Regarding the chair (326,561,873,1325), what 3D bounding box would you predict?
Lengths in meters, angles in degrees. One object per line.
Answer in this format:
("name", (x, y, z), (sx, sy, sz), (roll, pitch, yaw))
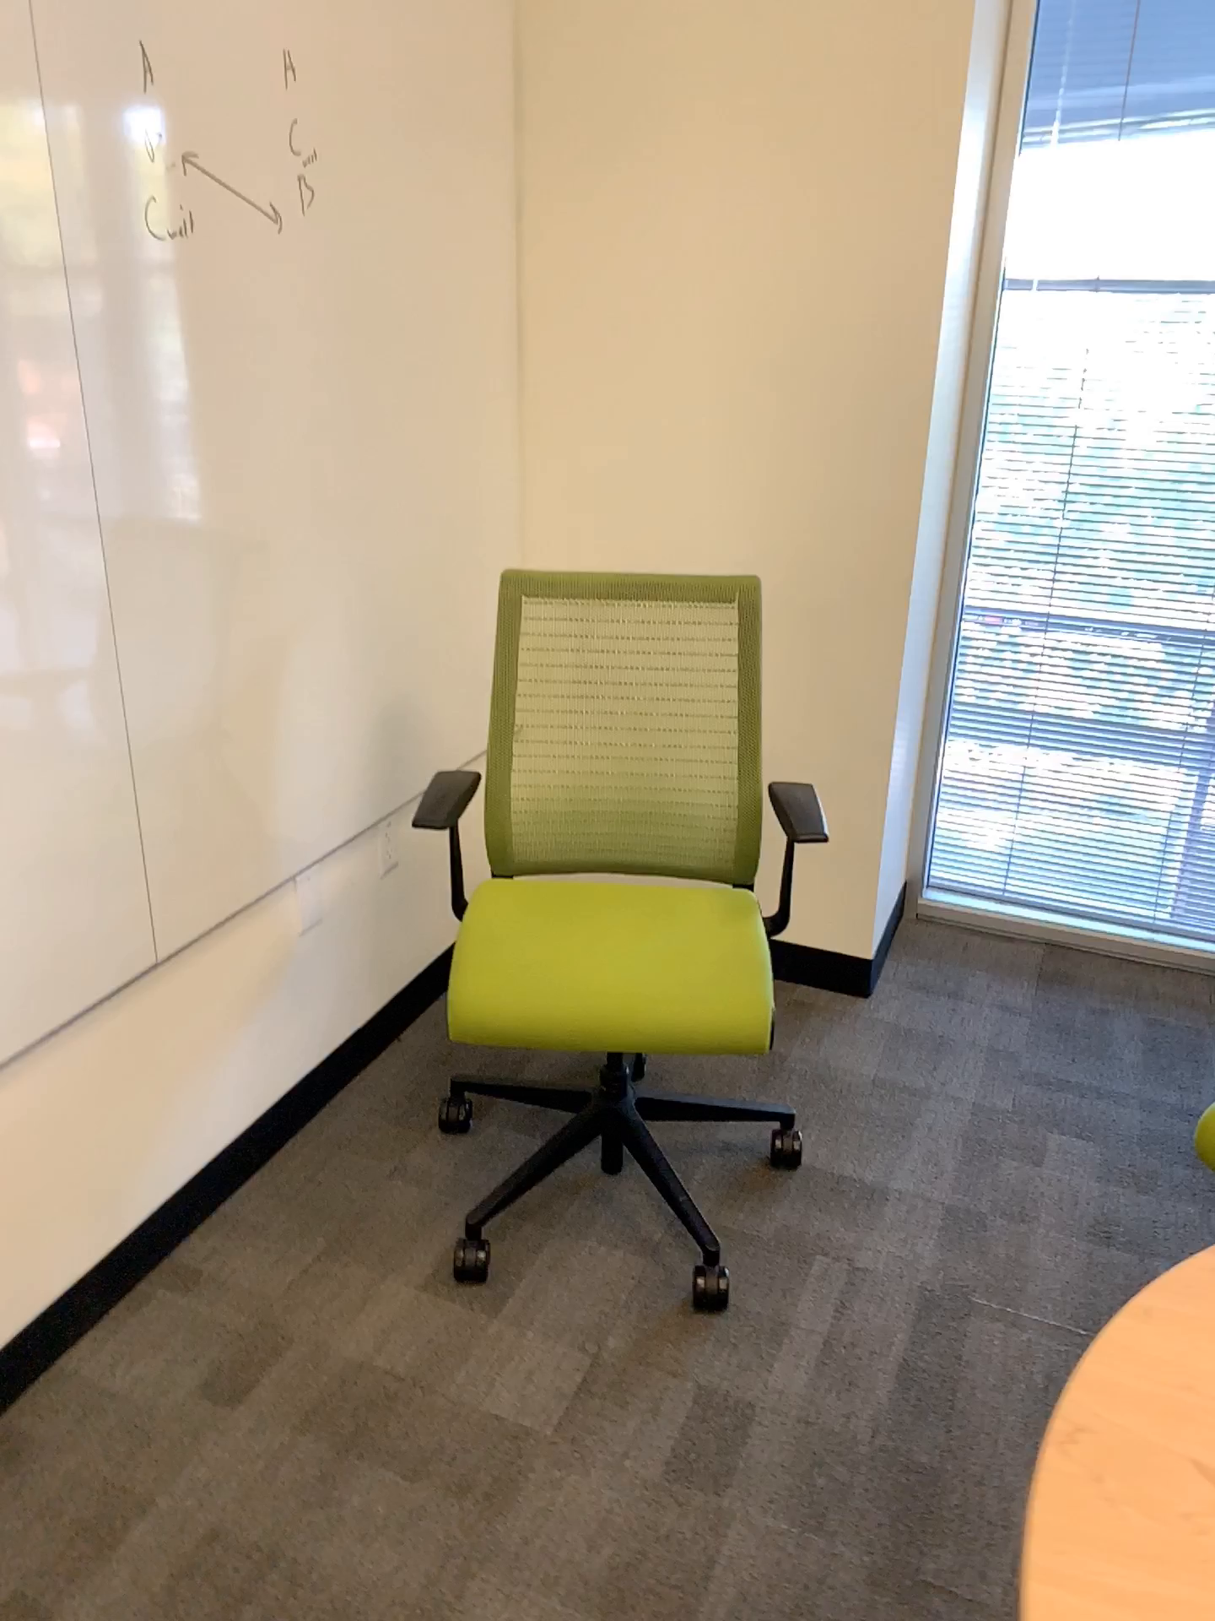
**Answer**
("chair", (0.011, 0.160, 2.158), (0.700, 0.995, 0.844), (3, 22, 4))
